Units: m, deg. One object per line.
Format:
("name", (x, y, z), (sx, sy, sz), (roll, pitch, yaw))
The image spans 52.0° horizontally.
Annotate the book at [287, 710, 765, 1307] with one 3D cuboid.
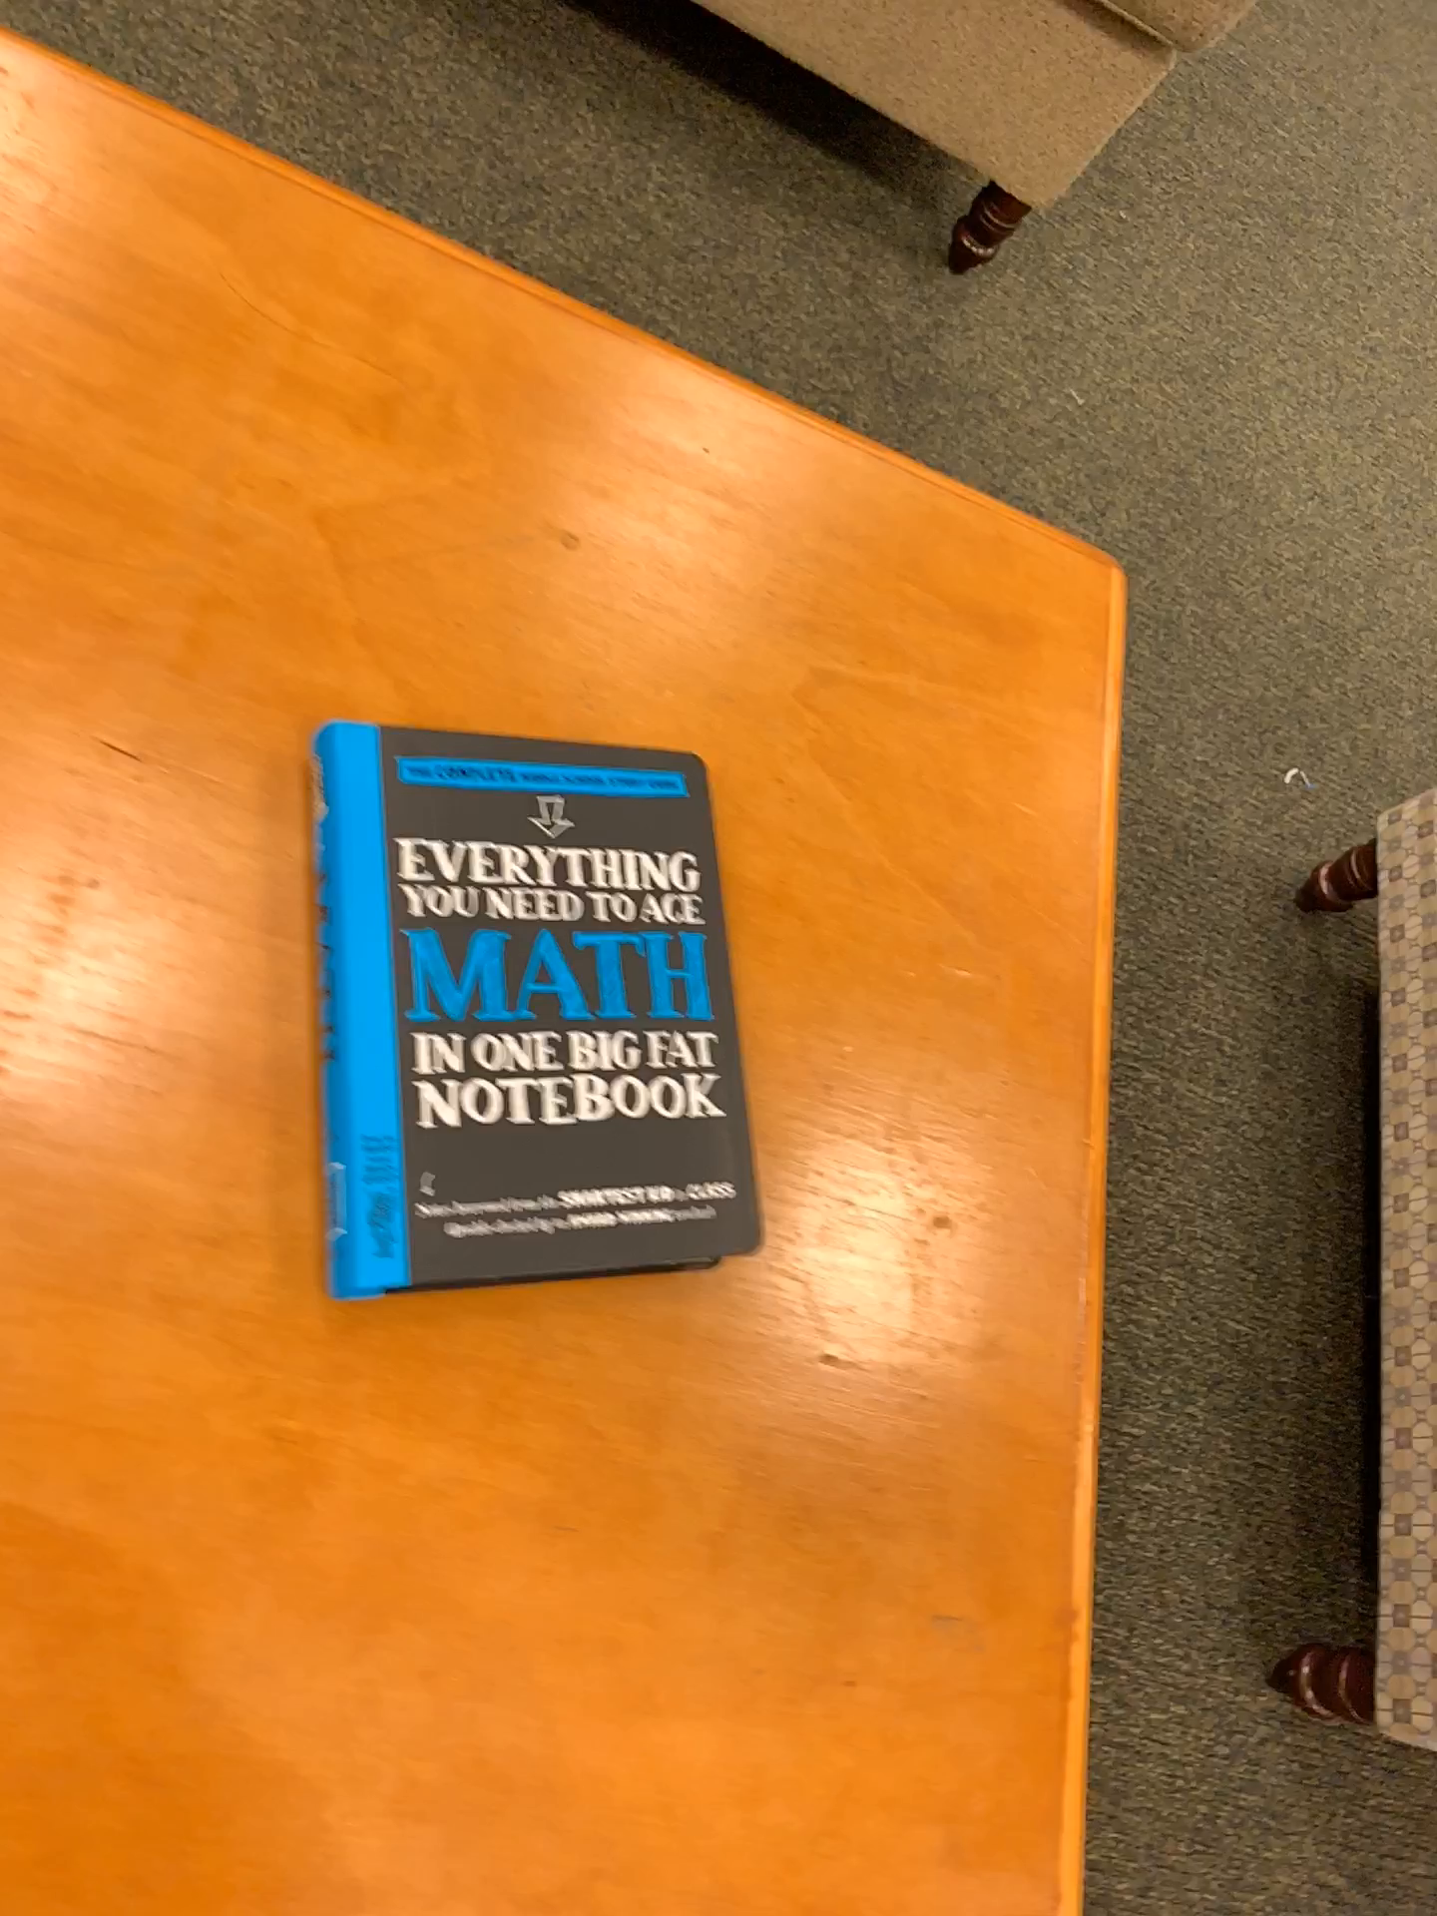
("book", (-0.075, 0.017, 0.560), (0.160, 0.040, 0.210), (1, 71, -26))
